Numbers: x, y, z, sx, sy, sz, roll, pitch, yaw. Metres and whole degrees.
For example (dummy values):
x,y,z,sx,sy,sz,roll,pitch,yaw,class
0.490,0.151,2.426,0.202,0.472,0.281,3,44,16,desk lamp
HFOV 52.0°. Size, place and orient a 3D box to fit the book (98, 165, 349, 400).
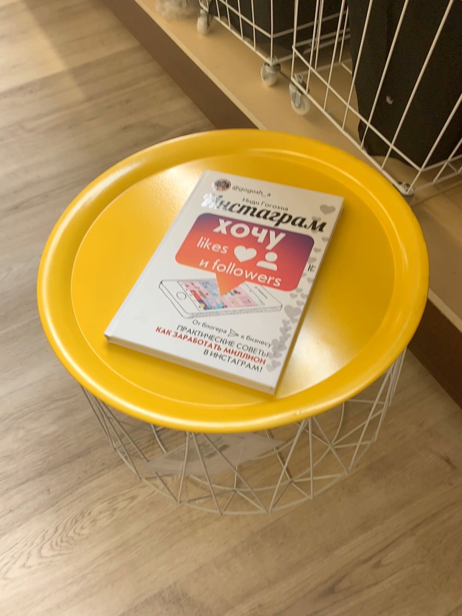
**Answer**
x,y,z,sx,sy,sz,roll,pitch,yaw,class
0.004,-0.044,0.471,0.170,0.020,0.240,15,58,16,book
